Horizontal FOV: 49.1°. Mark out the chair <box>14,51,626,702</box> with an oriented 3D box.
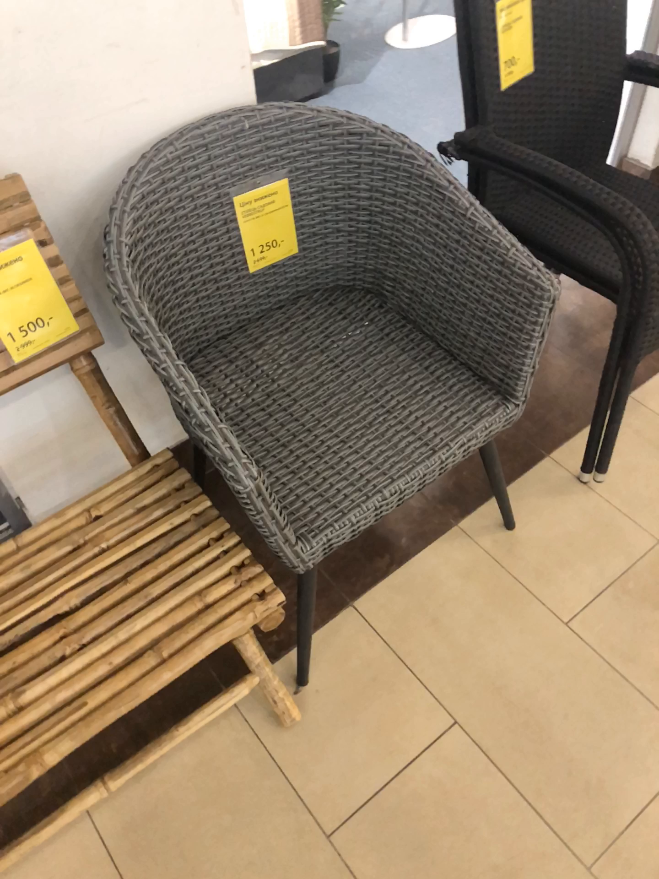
[{"bbox_3d":[-0.008,-0.088,1.186,0.571,0.738,0.521,-33,55,-22],"label":"chair"}]
